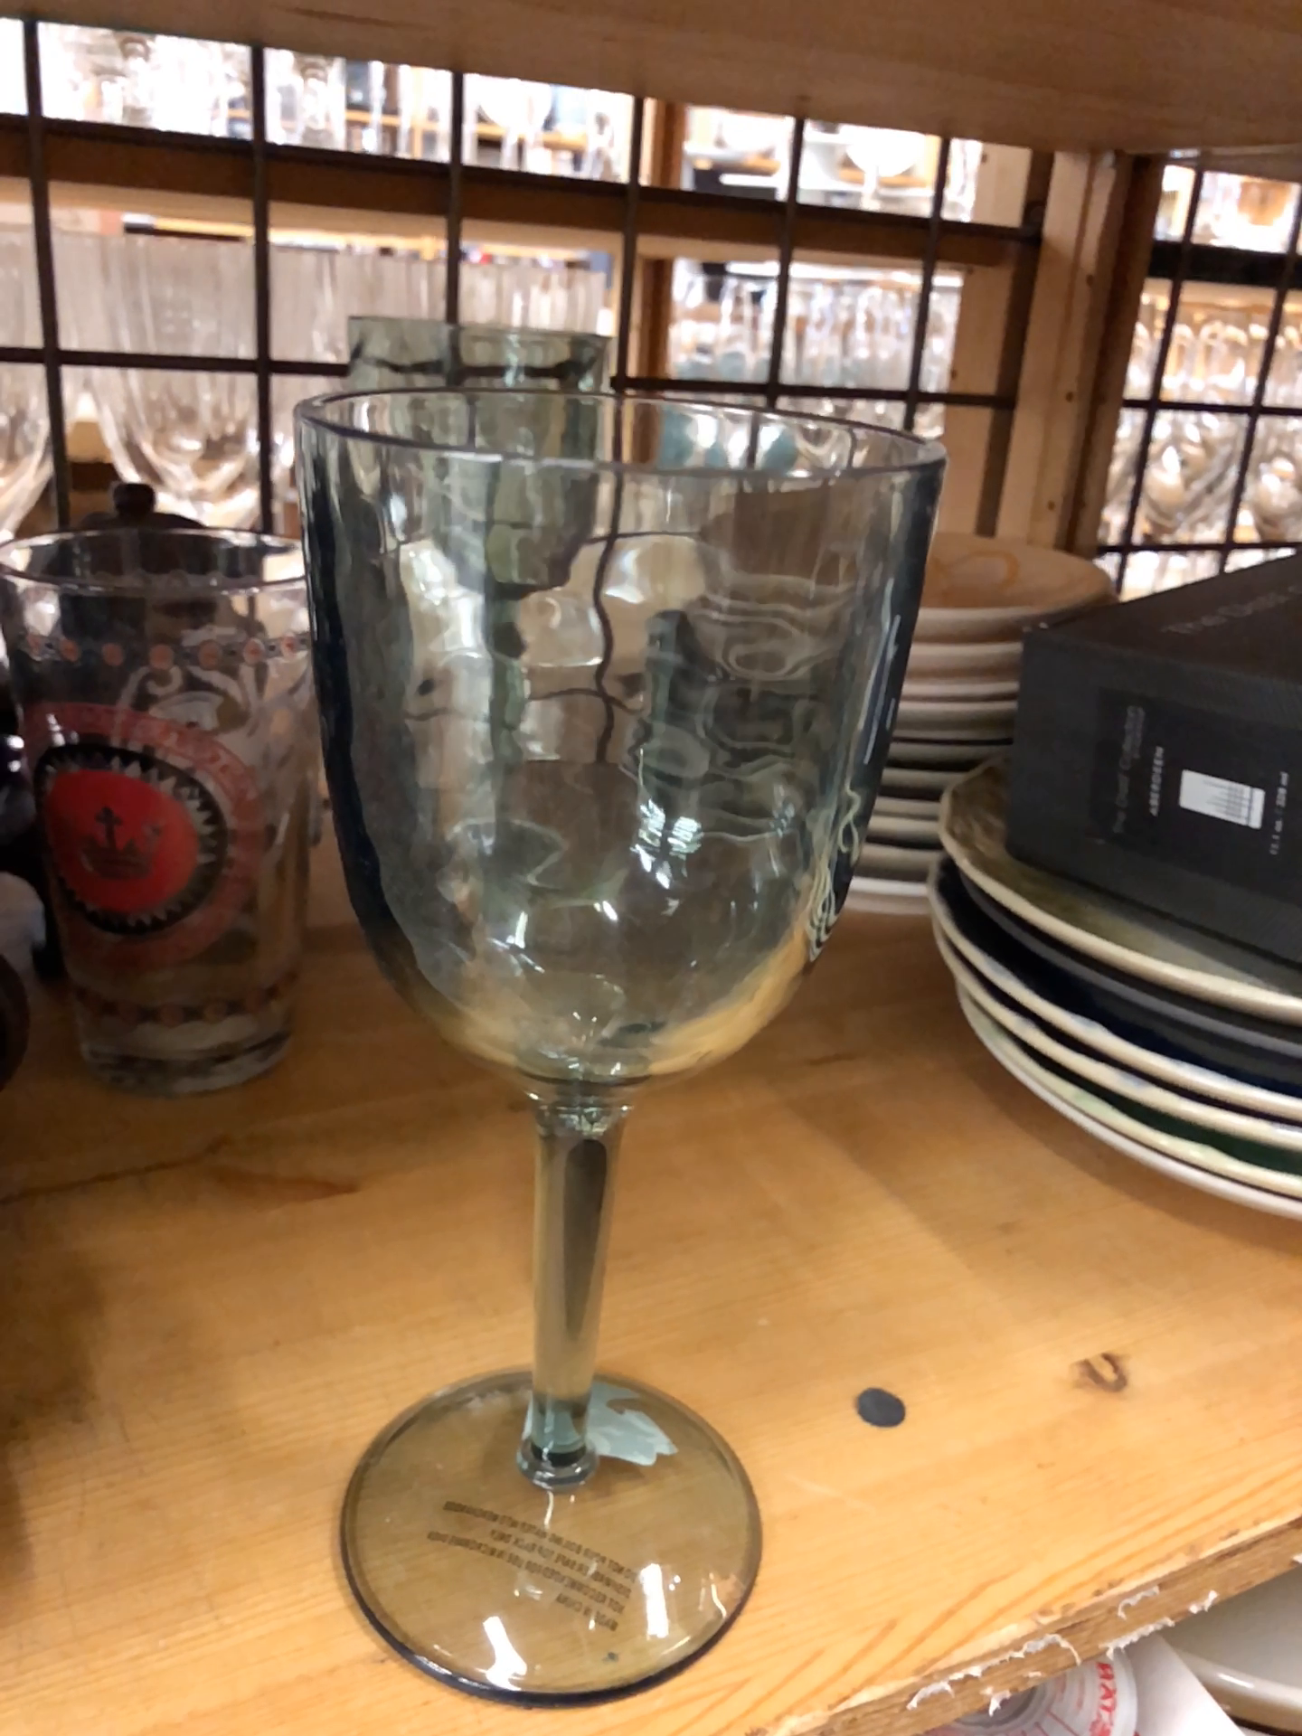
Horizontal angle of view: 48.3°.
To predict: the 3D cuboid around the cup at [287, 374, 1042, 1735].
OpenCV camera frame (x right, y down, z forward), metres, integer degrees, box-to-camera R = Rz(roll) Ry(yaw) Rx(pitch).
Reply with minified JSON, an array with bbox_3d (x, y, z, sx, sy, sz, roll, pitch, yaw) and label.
[{"bbox_3d":[-0.014,0.028,0.251,0.091,0.204,0.095,4,22,-2],"label":"cup"}]
